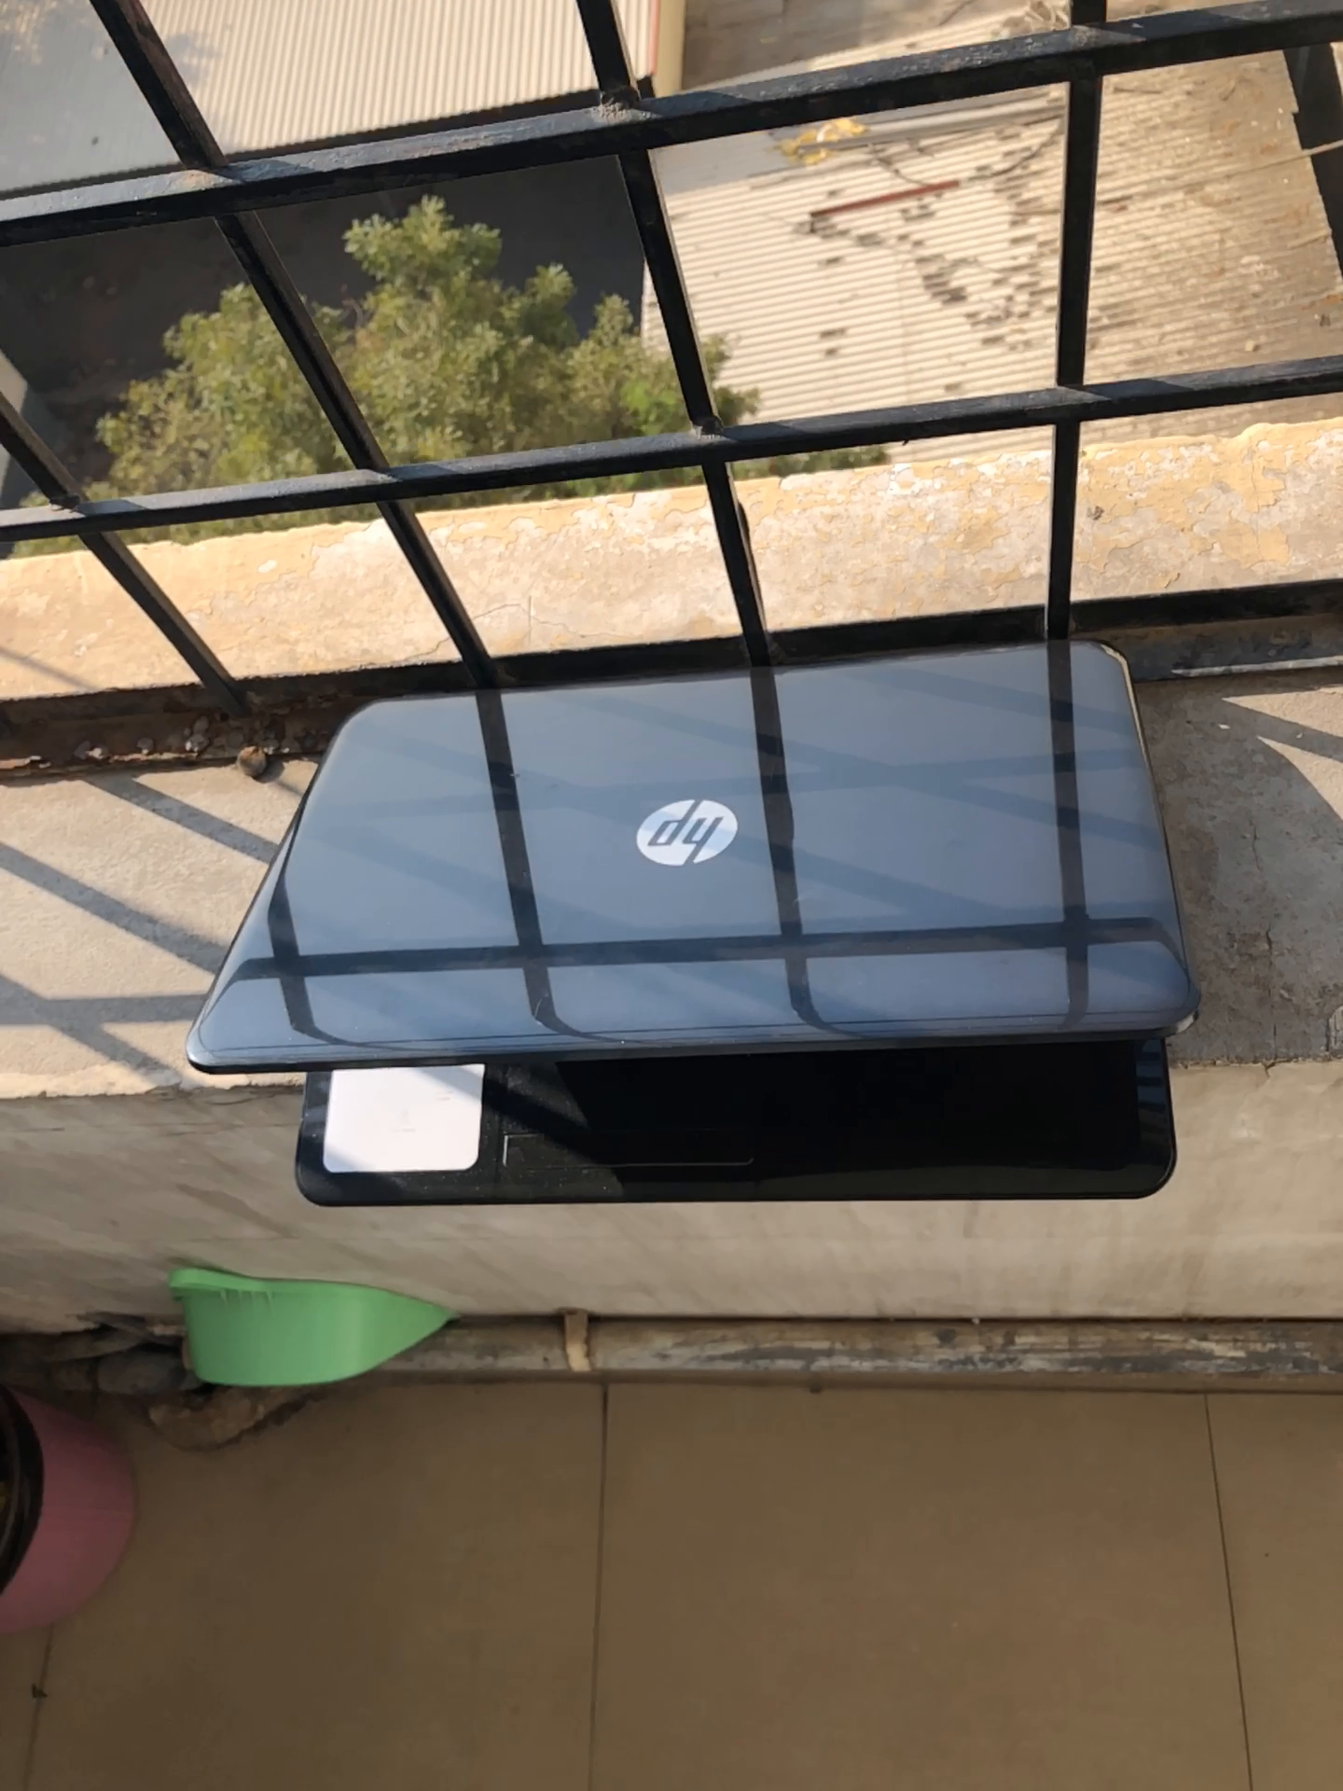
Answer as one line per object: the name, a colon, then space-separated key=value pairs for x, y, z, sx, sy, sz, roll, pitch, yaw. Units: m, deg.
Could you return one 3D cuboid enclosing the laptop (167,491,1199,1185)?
laptop: x=0.005 y=-0.017 z=0.616 sx=0.363 sy=0.113 sz=0.245 roll=-4 pitch=63 yaw=11
